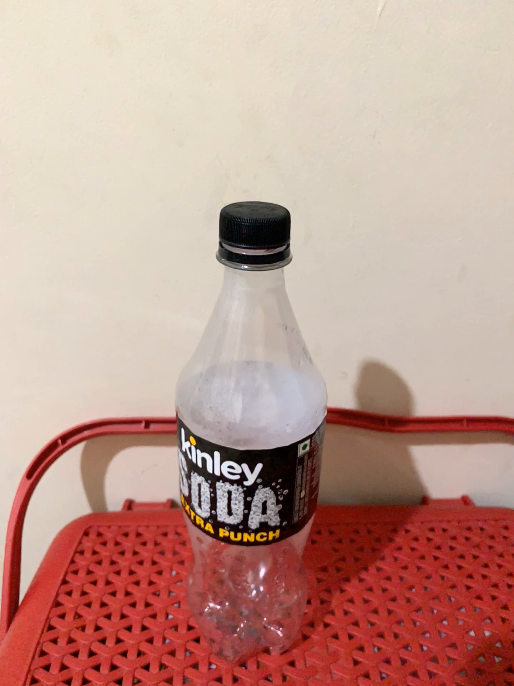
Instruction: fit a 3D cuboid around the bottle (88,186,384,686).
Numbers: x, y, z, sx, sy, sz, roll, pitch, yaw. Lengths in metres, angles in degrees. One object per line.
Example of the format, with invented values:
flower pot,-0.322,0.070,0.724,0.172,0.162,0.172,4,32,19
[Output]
bottle,-0.007,0.057,0.248,0.080,0.228,0.070,16,34,22
